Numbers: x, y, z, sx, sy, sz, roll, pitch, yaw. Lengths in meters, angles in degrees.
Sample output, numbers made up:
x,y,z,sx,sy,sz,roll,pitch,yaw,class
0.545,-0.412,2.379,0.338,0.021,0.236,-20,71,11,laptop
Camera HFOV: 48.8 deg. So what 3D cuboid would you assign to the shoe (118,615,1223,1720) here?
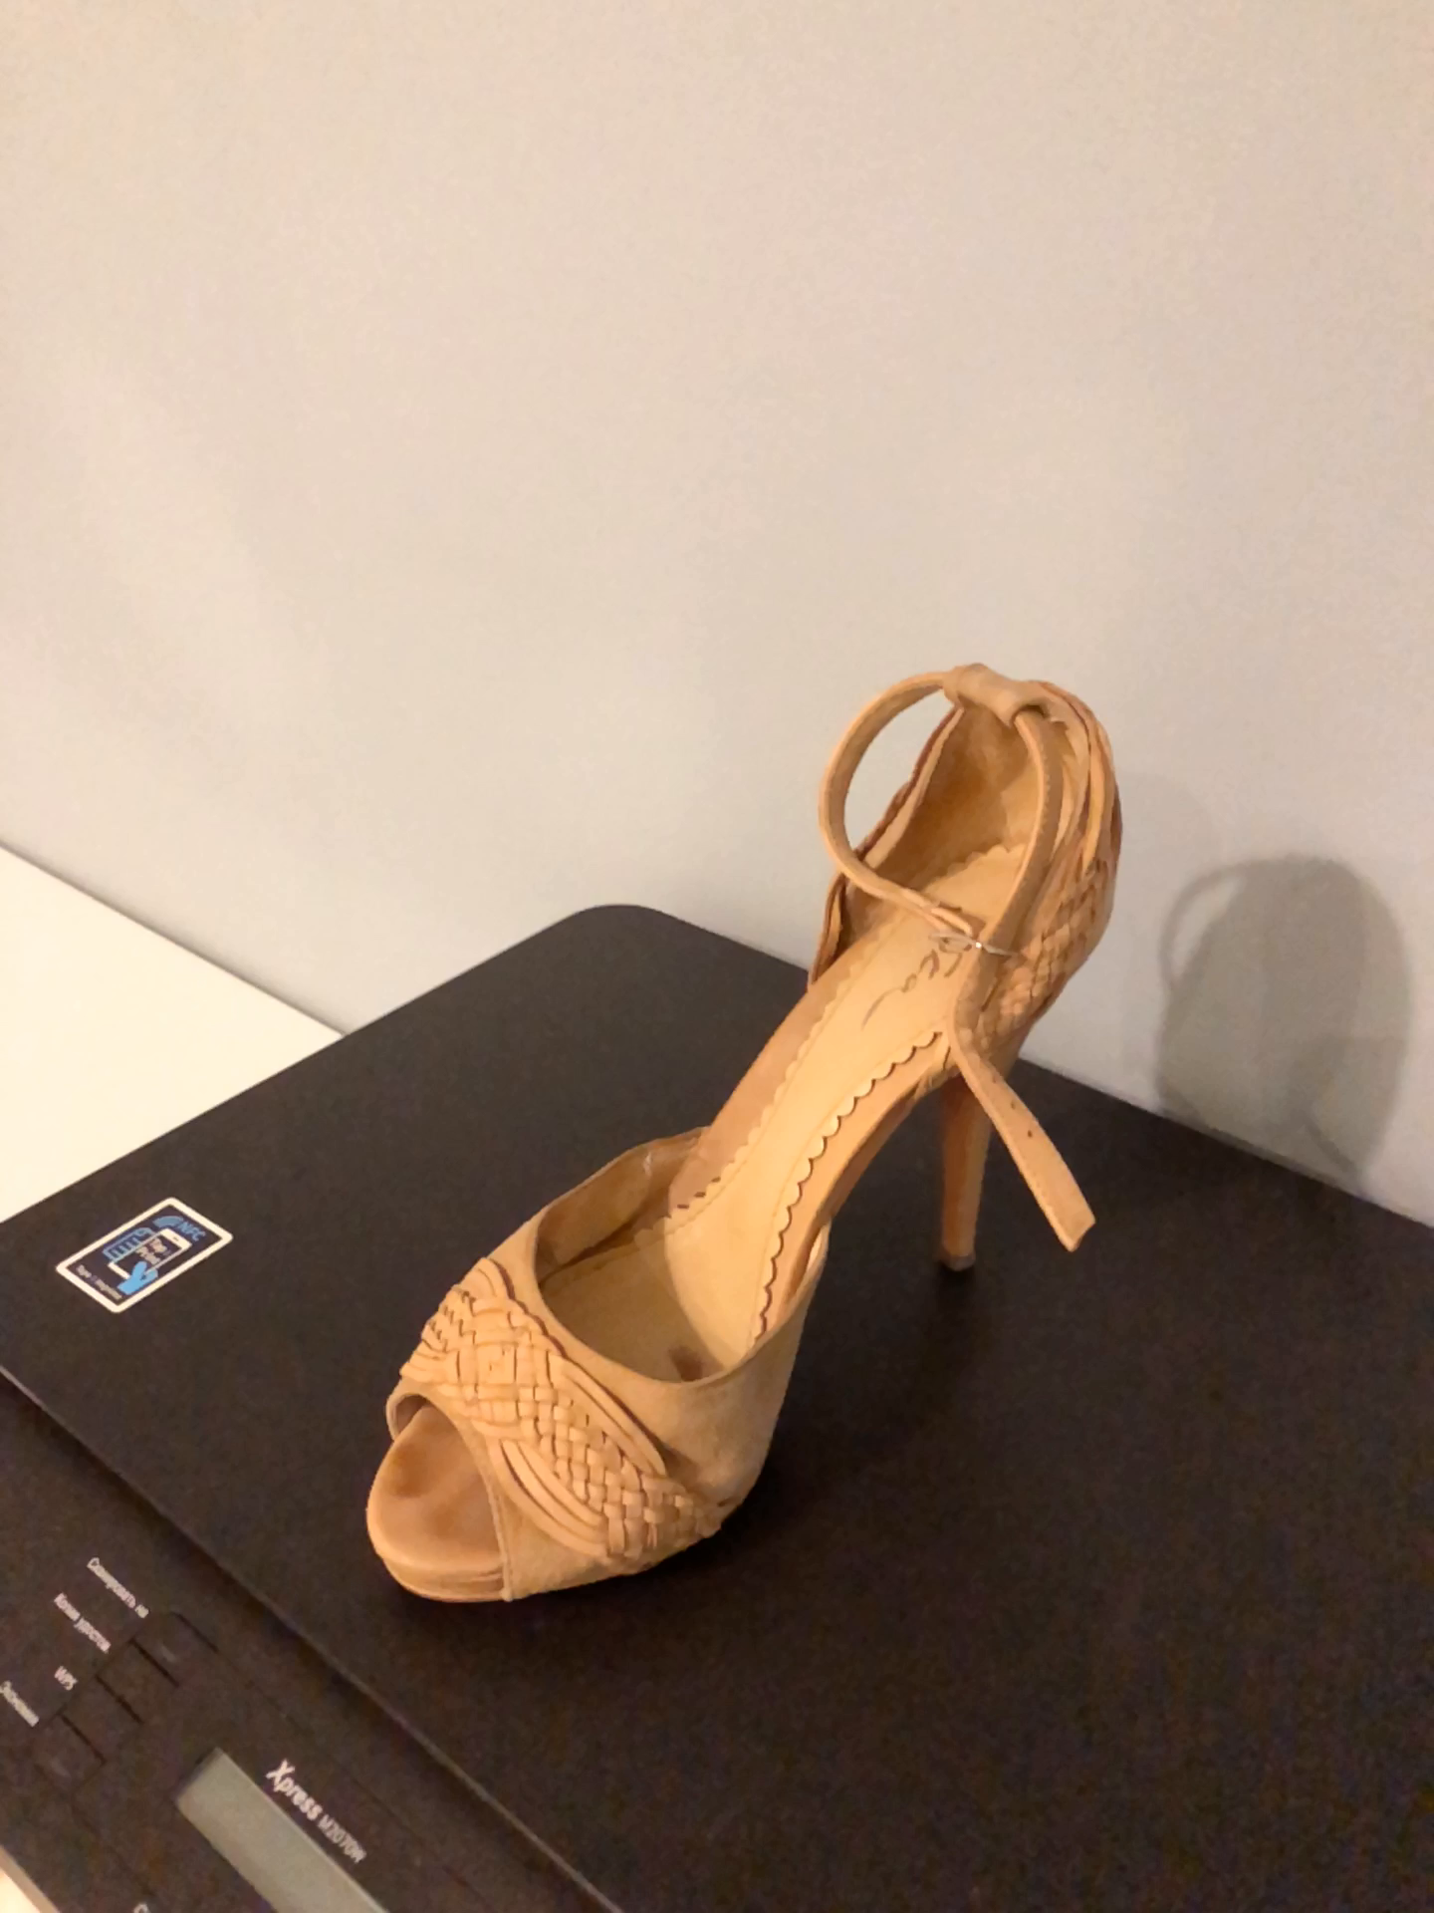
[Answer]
x,y,z,sx,sy,sz,roll,pitch,yaw,class
0.000,0.032,0.369,0.221,0.159,0.090,-22,38,-33,shoe
